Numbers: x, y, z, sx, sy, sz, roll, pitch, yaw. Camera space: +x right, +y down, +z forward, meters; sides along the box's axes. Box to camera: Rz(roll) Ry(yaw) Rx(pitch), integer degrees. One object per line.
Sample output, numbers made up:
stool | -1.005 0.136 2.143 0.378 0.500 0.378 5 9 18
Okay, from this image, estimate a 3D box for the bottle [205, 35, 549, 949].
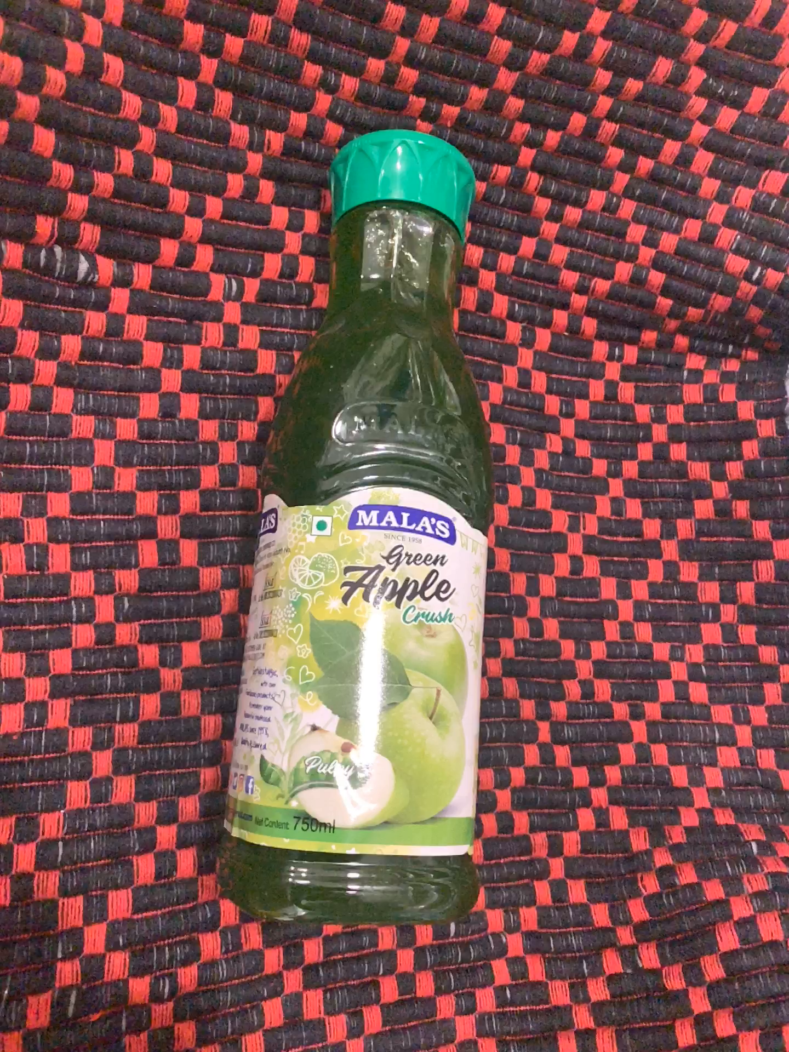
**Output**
bottle | -0.003 -0.015 0.253 0.070 0.070 0.250 10 71 -21
